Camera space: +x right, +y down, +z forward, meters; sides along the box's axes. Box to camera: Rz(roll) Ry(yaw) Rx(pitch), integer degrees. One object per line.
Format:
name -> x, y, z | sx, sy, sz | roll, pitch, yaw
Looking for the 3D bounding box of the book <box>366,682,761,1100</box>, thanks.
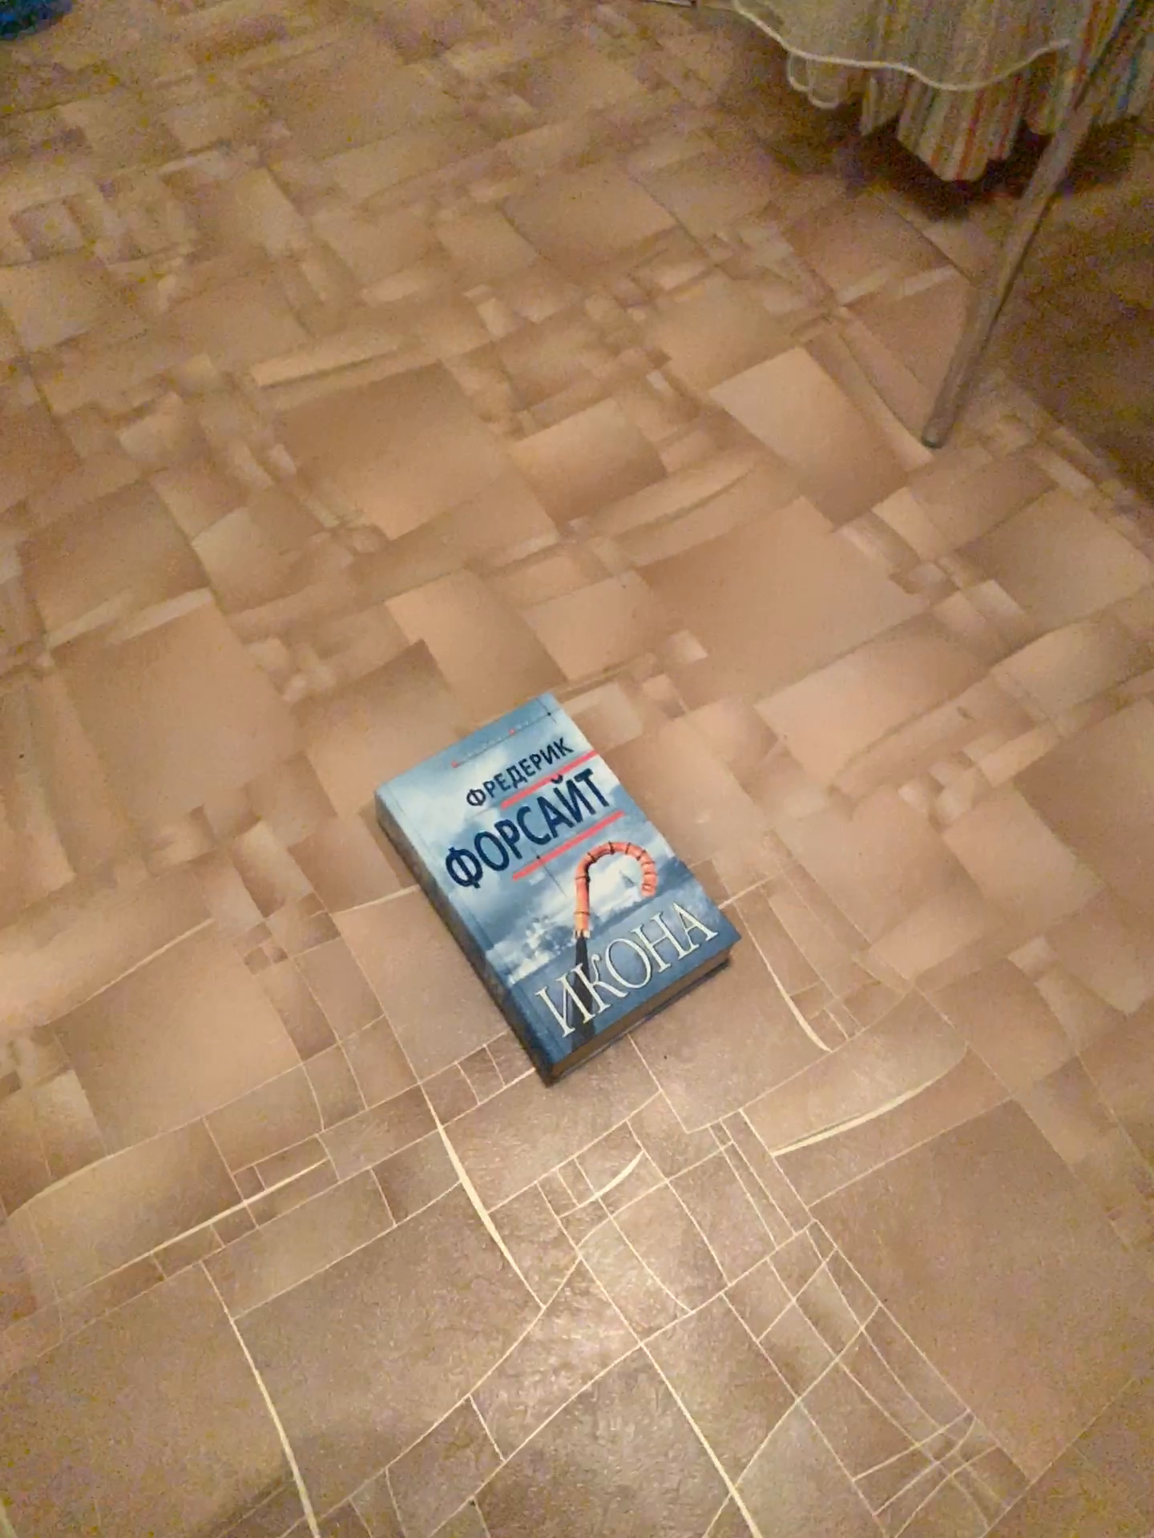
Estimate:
book -> -0.013, 0.072, 0.770 | 0.152, 0.056, 0.224 | -30, 65, -15
